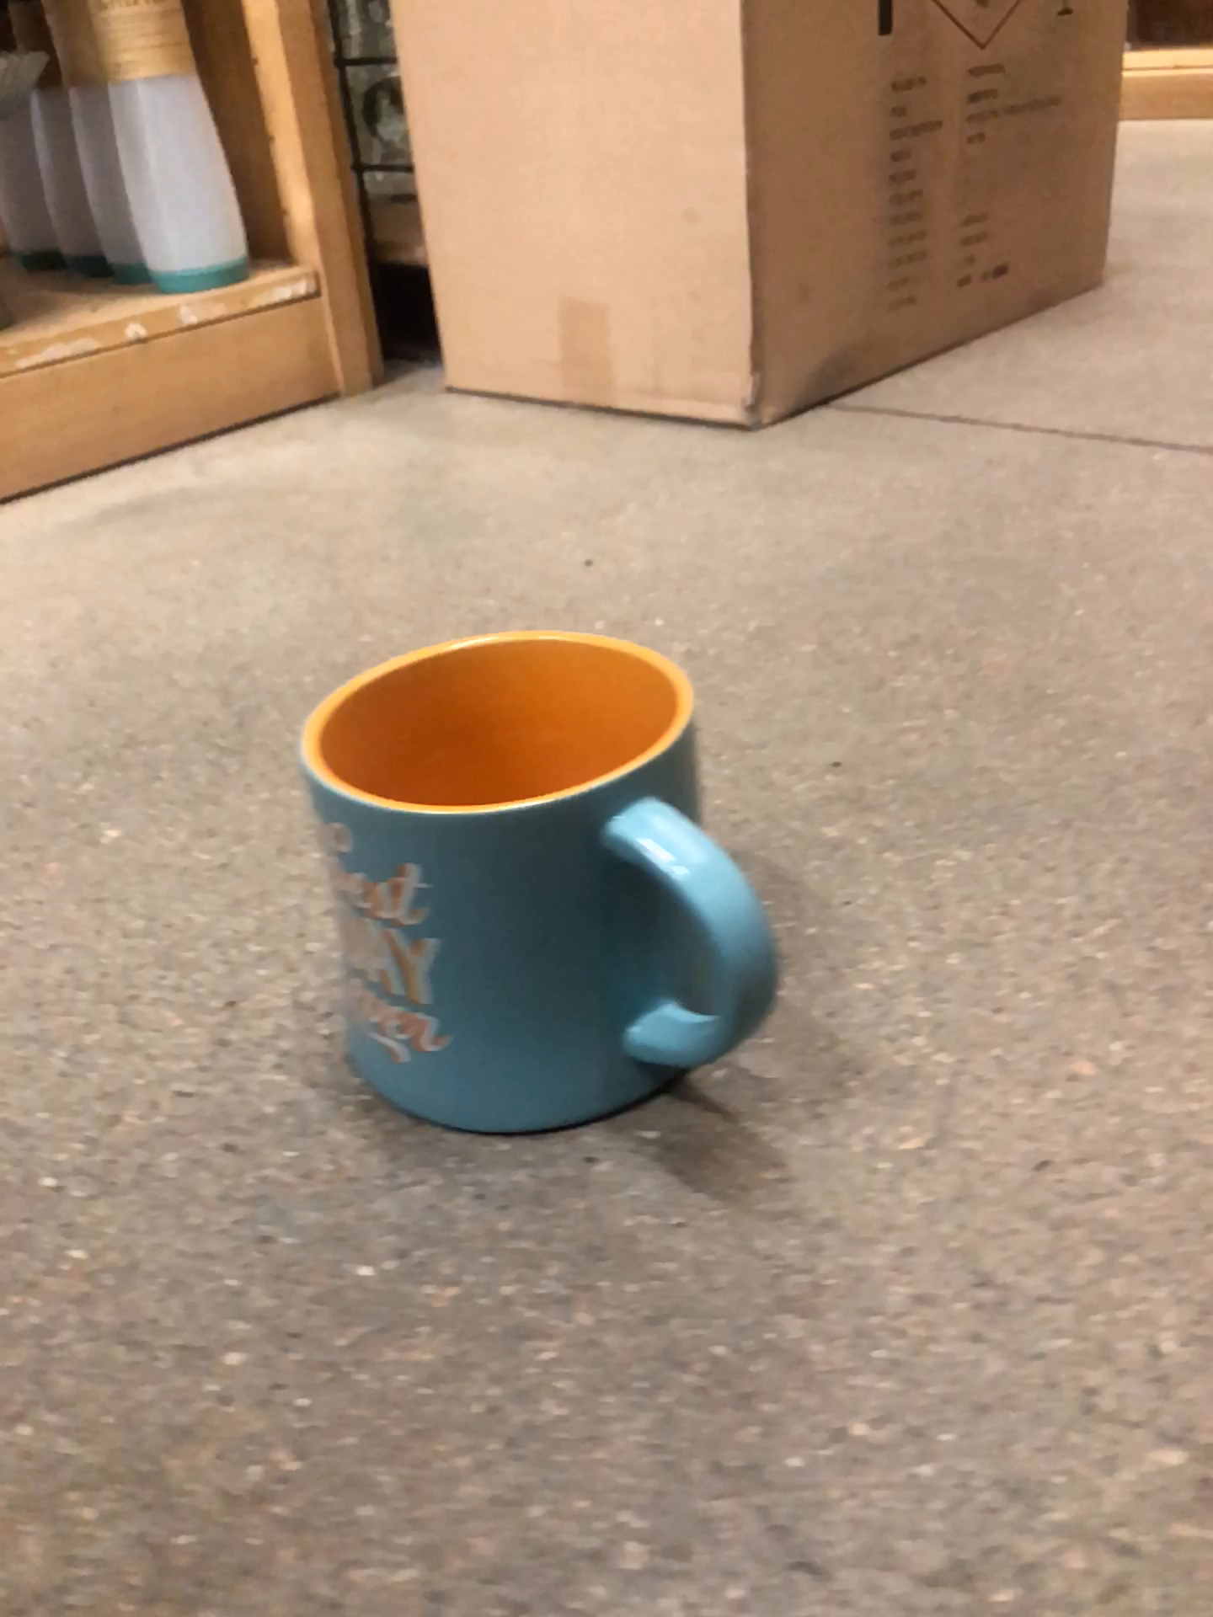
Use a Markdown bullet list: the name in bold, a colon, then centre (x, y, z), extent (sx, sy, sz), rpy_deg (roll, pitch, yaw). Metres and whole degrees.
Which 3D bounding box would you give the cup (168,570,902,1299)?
- **cup**: centre (-0.018, 0.017, 0.338), extent (0.107, 0.097, 0.143), rpy_deg (-27, 36, -32)
